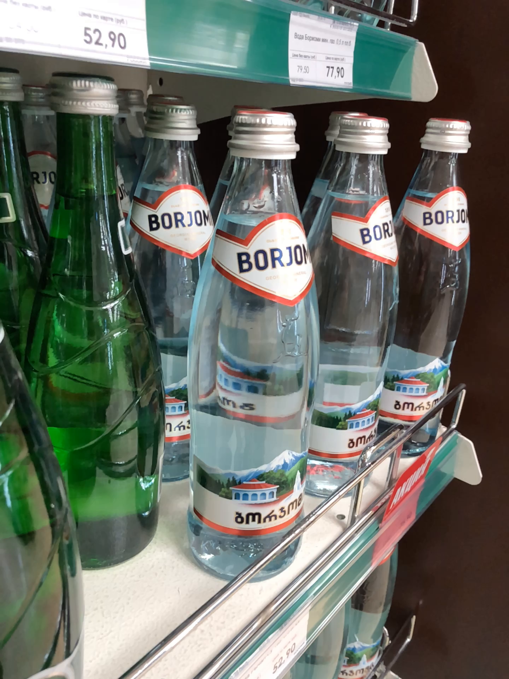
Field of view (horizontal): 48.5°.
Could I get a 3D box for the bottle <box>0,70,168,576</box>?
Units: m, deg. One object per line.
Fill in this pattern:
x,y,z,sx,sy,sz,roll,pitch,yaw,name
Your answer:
-0.085,-0.001,0.285,0.069,0.238,0.065,3,21,-1,bottle

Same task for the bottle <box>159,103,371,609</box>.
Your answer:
-0.001,0.010,0.287,0.068,0.236,0.063,3,21,-1,bottle

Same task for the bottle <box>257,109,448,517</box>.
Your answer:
0.055,-0.016,0.357,0.069,0.236,0.065,3,21,-1,bottle
